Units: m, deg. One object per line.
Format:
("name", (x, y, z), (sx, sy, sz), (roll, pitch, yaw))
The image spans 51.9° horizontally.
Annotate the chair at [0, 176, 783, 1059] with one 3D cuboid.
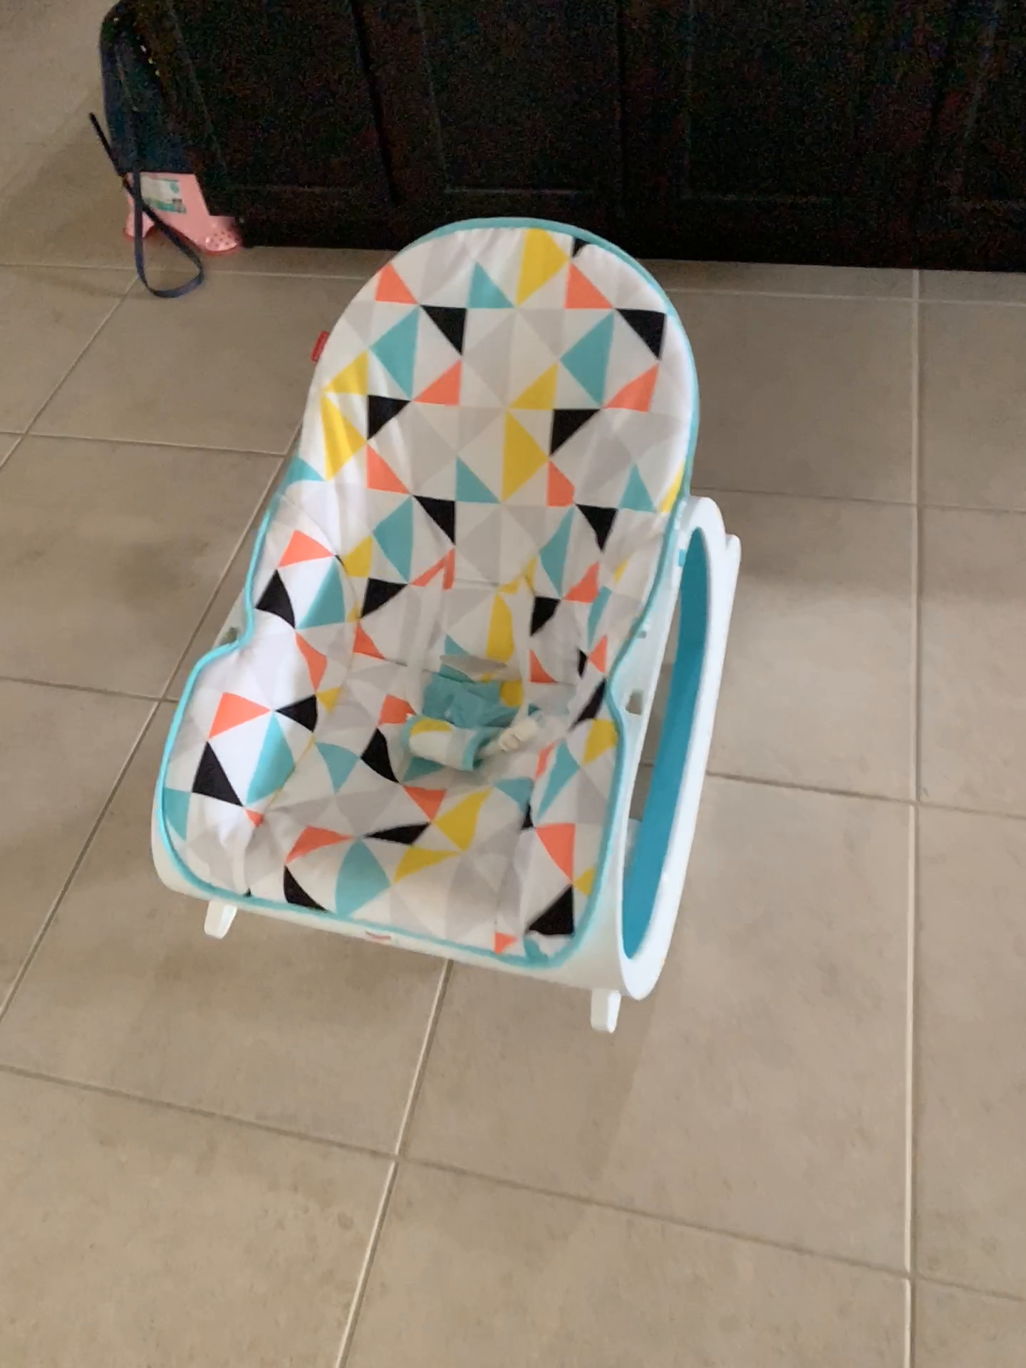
("chair", (-0.044, -0.099, 1.112), (0.531, 0.486, 0.736), (8, 56, 14))
